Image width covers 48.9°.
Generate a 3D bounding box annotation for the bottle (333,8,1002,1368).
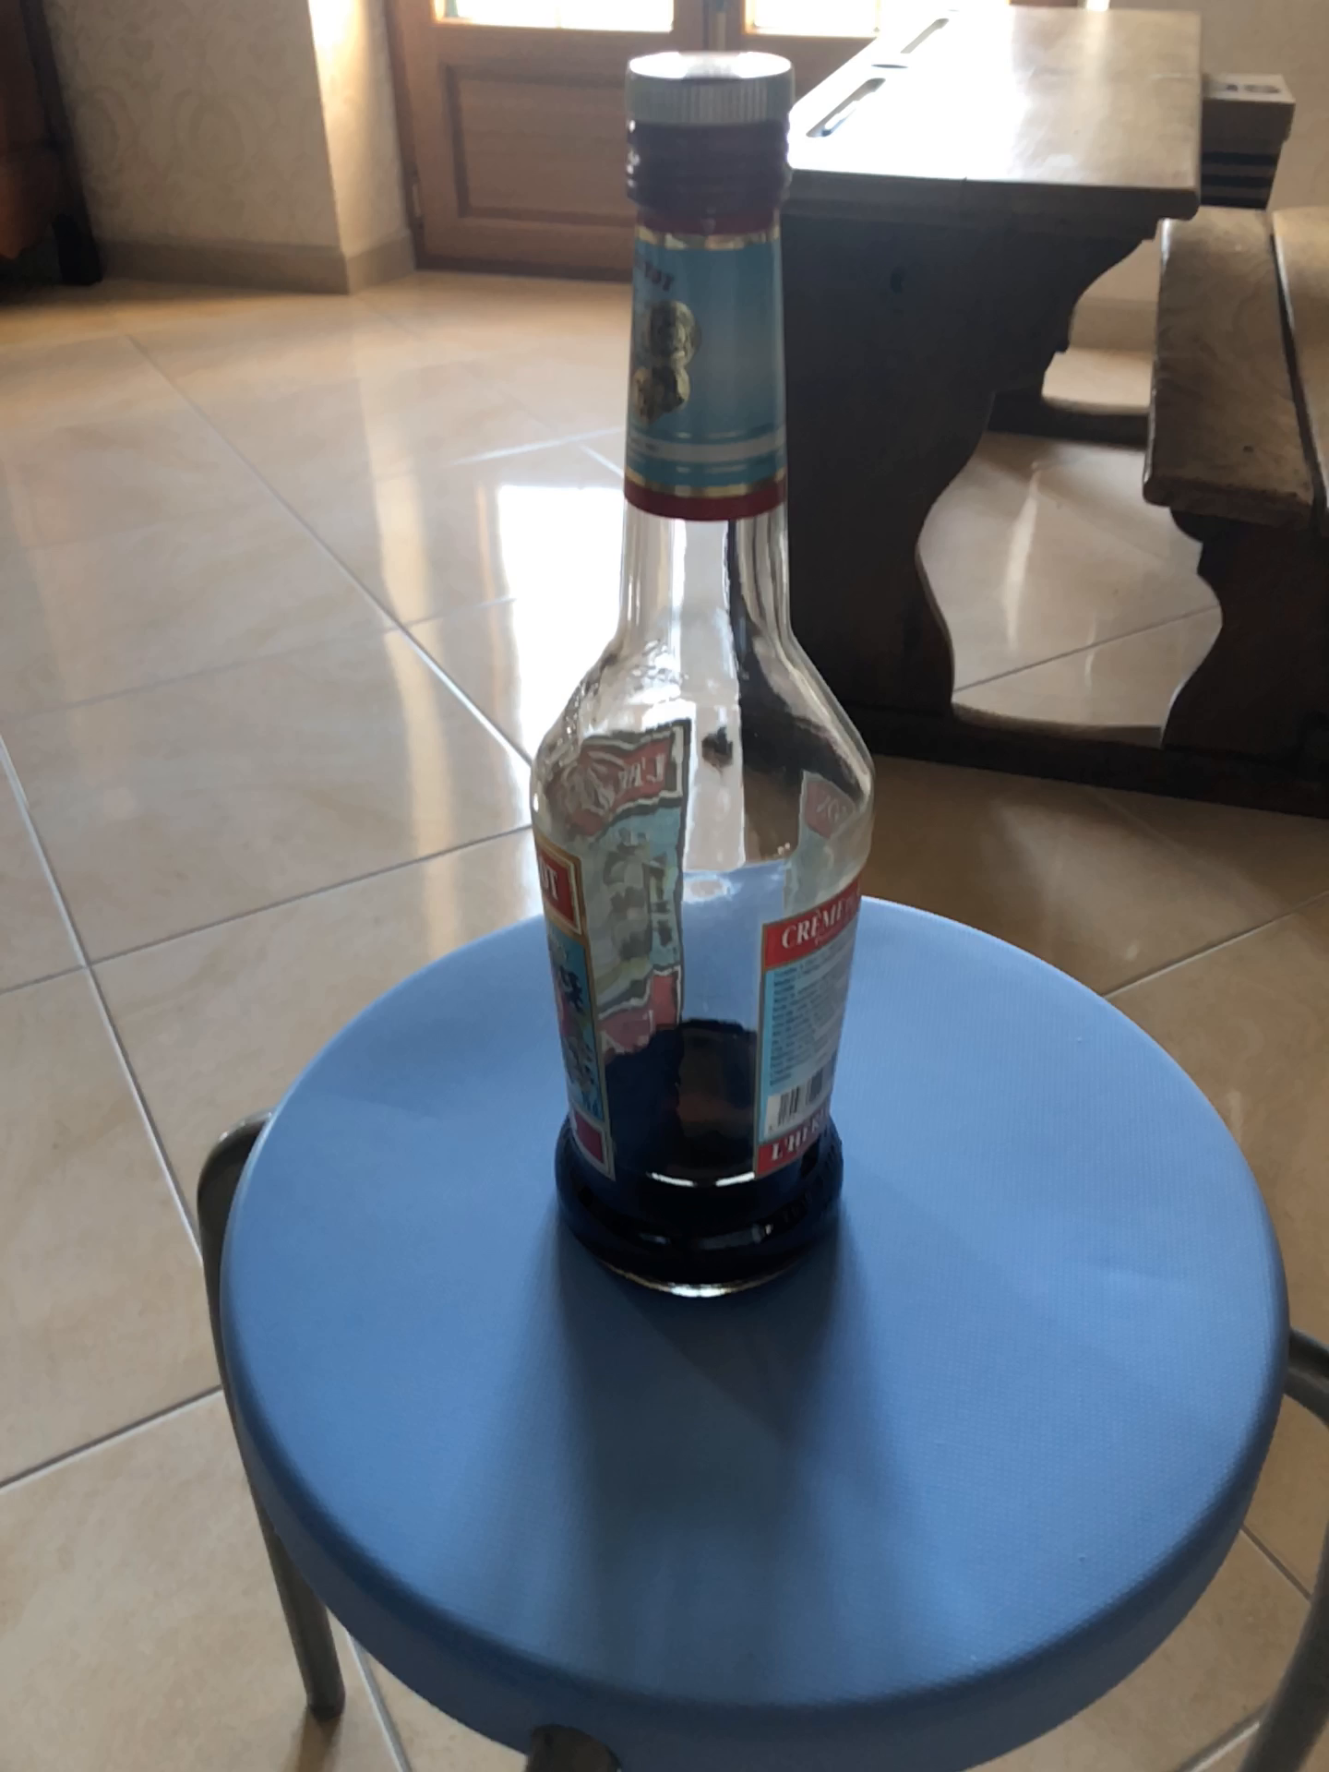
[{"bbox_3d":[0.006,-0.028,0.346,0.090,0.298,0.091,0,36,0],"label":"bottle"}]
